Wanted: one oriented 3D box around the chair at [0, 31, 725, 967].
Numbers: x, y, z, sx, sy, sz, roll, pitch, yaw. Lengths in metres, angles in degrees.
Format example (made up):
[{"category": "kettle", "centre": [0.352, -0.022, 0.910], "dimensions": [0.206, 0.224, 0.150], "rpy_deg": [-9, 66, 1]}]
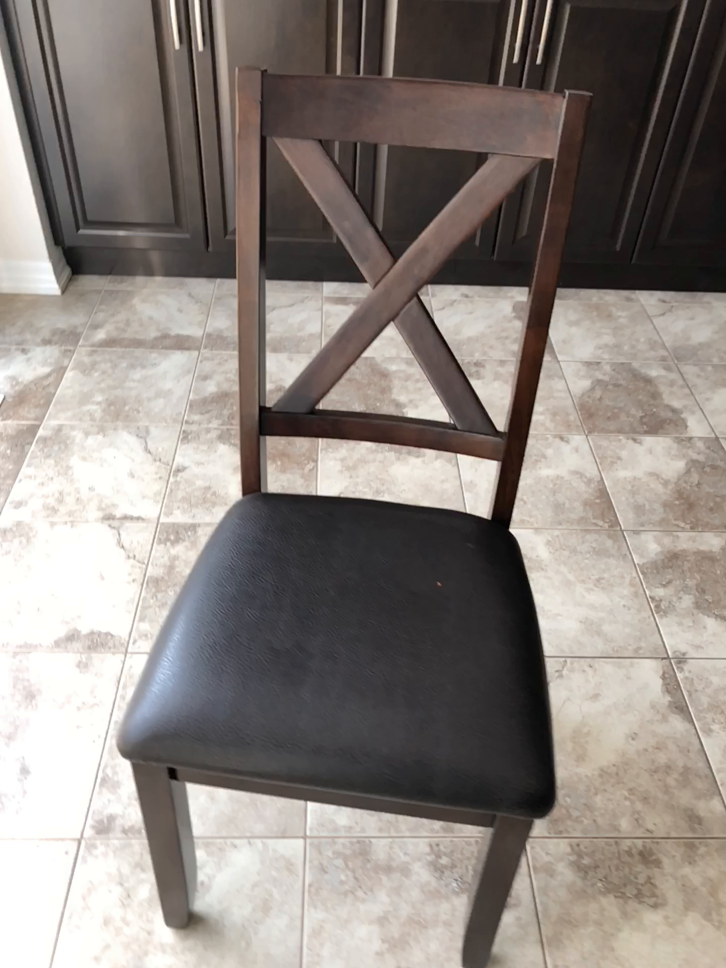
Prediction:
[{"category": "chair", "centre": [0.009, 0.065, 0.966], "dimensions": [0.480, 0.936, 0.603], "rpy_deg": [7, 41, 4]}]
